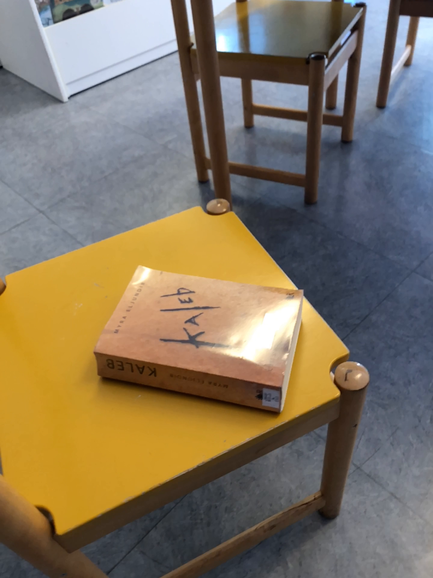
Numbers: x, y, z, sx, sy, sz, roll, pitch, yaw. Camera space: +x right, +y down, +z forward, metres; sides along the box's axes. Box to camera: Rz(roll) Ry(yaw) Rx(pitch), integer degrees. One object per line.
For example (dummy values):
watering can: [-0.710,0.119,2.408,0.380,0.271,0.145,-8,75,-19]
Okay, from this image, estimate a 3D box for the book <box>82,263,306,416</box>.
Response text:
book: [-0.019,0.049,0.561,0.223,0.043,0.150,8,48,15]
